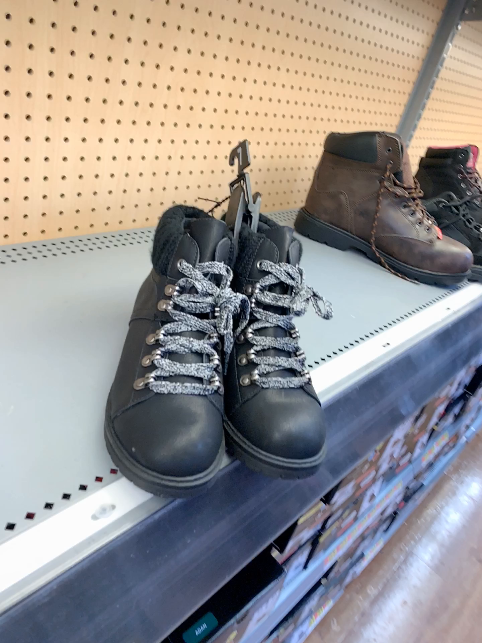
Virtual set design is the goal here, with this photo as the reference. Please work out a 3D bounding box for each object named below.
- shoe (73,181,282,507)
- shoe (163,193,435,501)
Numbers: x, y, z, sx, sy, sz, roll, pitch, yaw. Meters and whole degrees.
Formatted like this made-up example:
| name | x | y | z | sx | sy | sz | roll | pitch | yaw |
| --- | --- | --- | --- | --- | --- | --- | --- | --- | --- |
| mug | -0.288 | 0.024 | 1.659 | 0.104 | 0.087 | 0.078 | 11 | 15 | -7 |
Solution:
| name | x | y | z | sx | sy | sz | roll | pitch | yaw |
| --- | --- | --- | --- | --- | --- | --- | --- | --- | --- |
| shoe | -0.050 | 0.000 | 0.402 | 0.104 | 0.137 | 0.237 | 11 | 32 | -10 |
| shoe | 0.023 | 0.005 | 0.425 | 0.105 | 0.137 | 0.232 | 0 | 35 | -26 |
